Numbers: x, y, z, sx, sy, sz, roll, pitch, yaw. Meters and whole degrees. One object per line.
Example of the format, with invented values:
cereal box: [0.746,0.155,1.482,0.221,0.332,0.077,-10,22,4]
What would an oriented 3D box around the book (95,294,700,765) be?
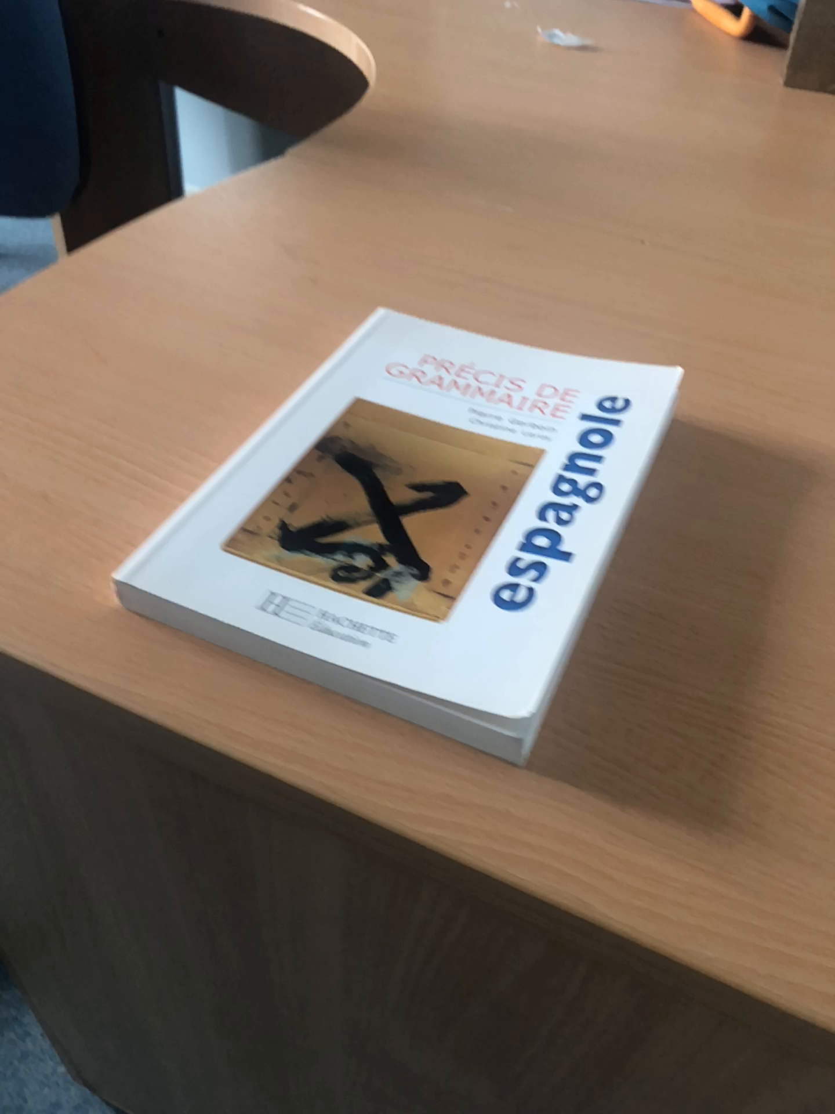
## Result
book: [0.009,-0.038,0.411,0.180,0.020,0.242,18,45,17]
